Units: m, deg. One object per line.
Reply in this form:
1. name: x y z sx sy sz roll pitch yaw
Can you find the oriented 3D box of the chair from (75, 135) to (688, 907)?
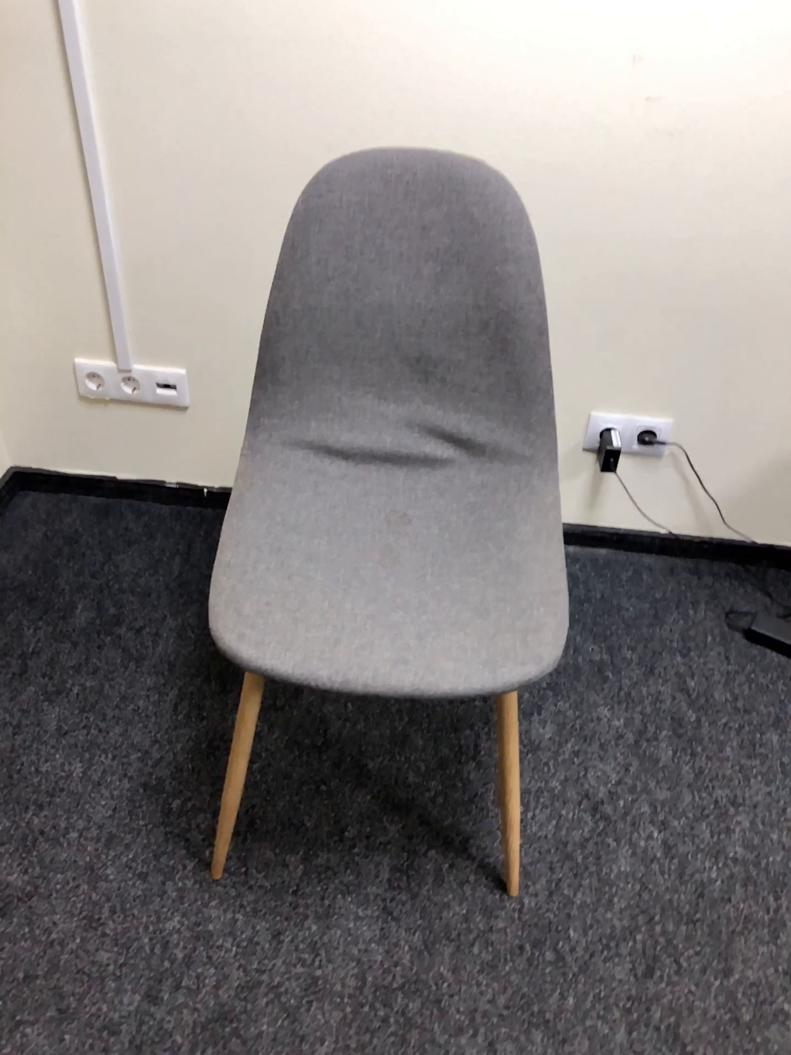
1. chair: -0.017 -0.005 1.141 0.470 0.785 0.604 4 39 0
